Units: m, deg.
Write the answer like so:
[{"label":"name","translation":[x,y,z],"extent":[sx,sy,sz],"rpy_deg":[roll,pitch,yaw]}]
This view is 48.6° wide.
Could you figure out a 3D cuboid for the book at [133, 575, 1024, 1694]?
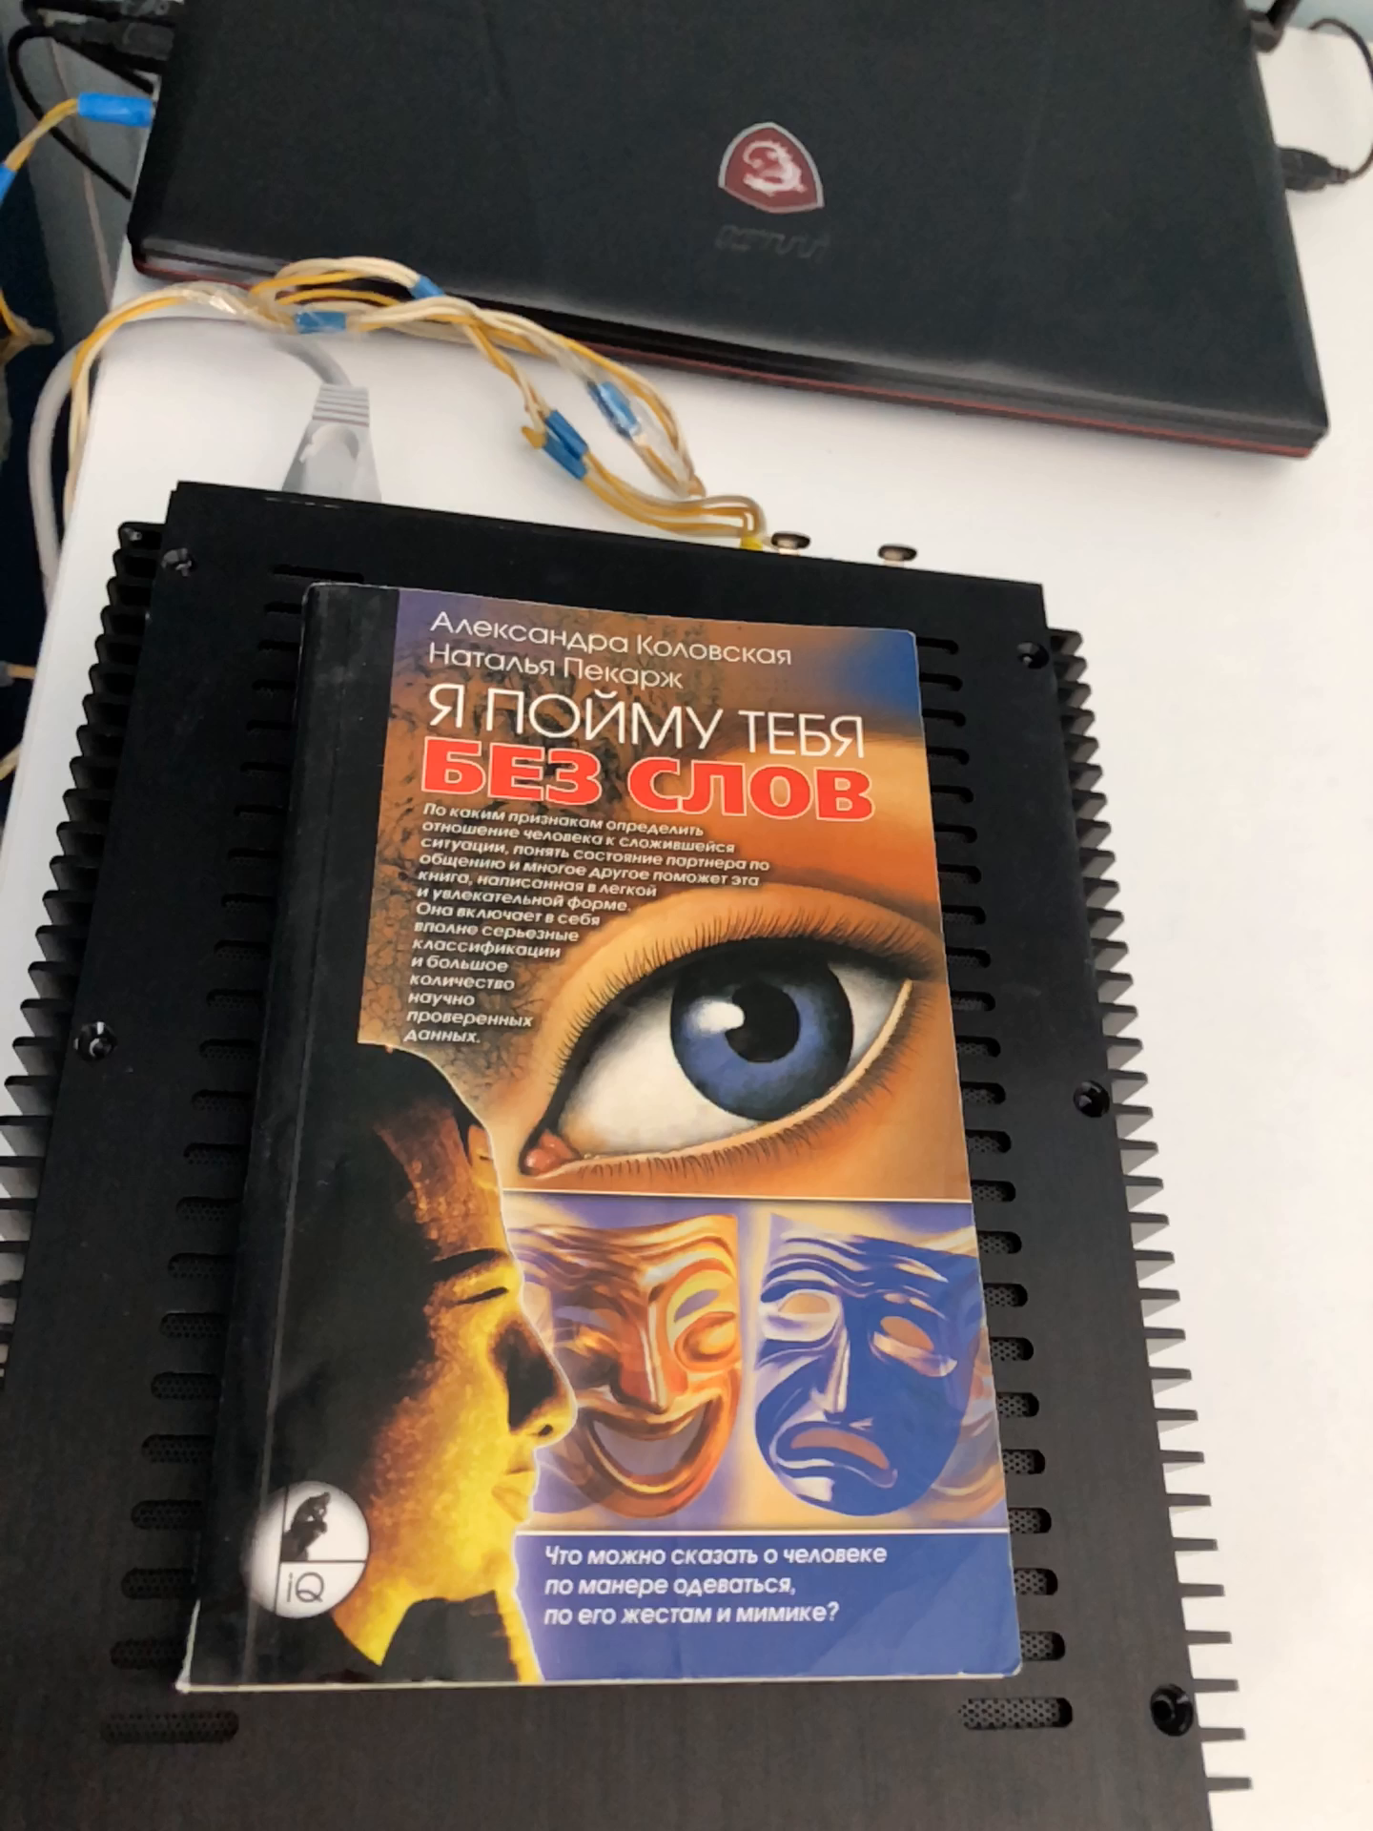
[{"label":"book","translation":[-0.015,0.029,0.260],"extent":[0.123,0.023,0.184],"rpy_deg":[4,64,-9]}]
